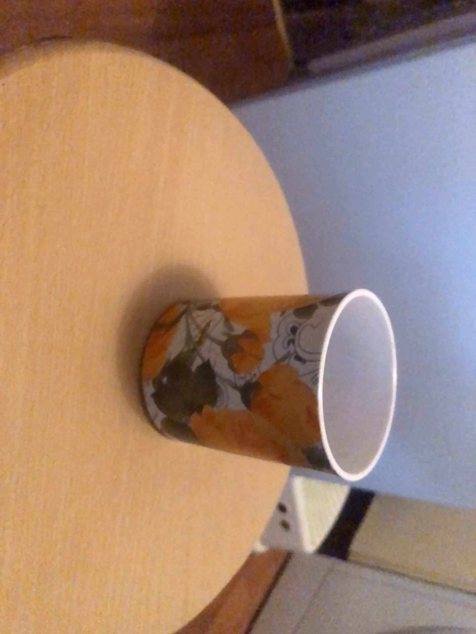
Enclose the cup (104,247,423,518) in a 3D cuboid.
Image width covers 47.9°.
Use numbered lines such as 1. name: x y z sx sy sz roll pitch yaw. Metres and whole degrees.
1. cup: 0.020 0.035 0.263 0.111 0.097 0.082 42 57 -45
